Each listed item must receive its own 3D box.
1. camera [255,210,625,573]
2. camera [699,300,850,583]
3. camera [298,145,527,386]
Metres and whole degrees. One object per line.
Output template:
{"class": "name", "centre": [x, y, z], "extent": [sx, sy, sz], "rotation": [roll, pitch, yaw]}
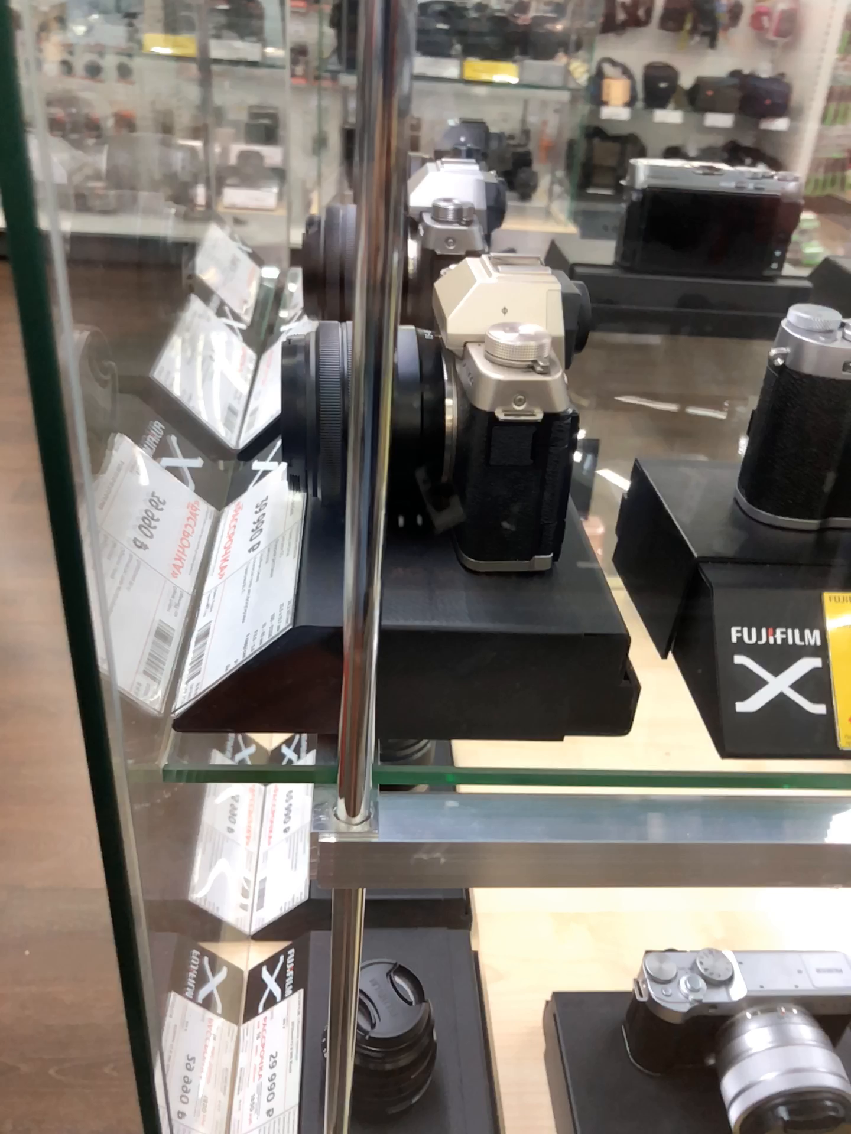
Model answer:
{"class": "camera", "centre": [-0.004, -0.067, 0.329], "extent": [0.100, 0.080, 0.132], "rotation": [0, 31, -7]}
{"class": "camera", "centre": [0.177, -0.044, 0.333], "extent": [0.131, 0.076, 0.055], "rotation": [3, 31, -3]}
{"class": "camera", "centre": [-0.013, -0.164, 0.500], "extent": [0.102, 0.086, 0.141], "rotation": [1, 31, -5]}
